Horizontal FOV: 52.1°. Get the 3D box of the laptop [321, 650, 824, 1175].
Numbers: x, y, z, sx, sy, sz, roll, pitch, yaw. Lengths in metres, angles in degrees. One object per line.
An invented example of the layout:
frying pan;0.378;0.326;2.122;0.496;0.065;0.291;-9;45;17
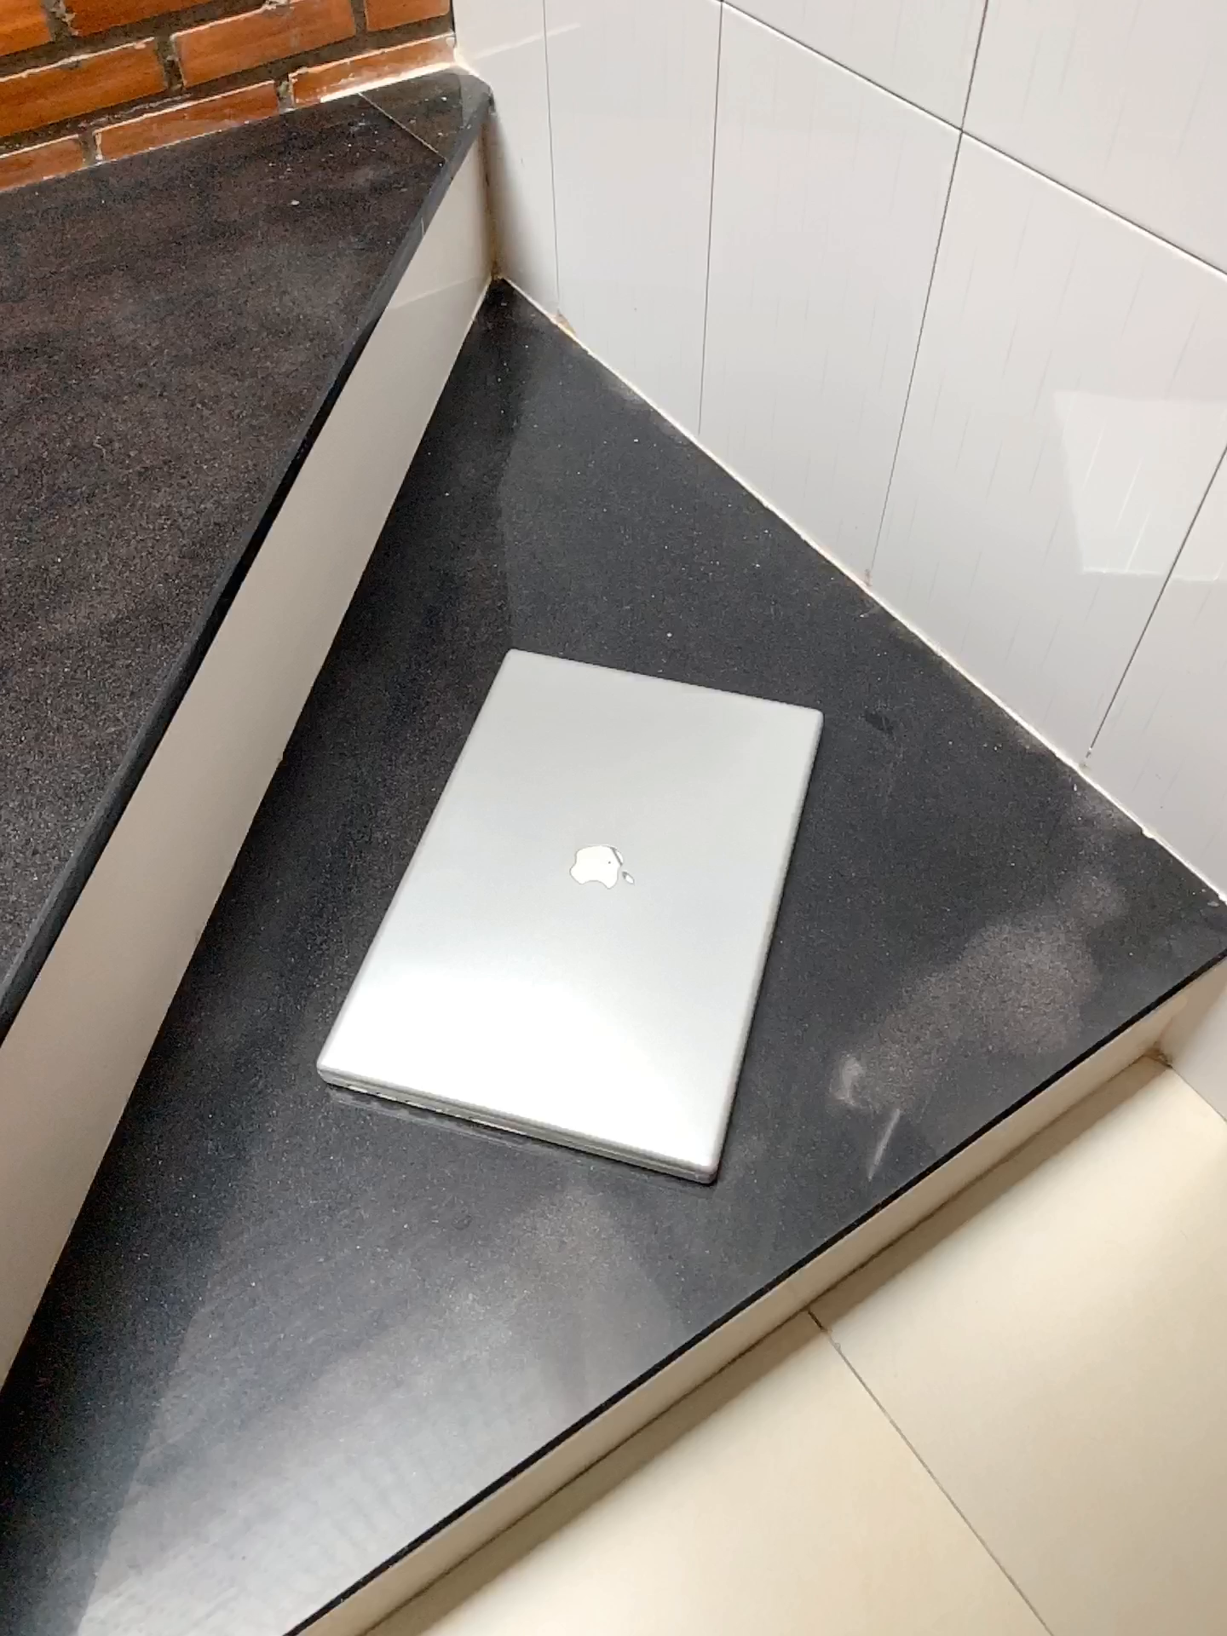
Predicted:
laptop;-0.010;0.048;1.027;0.291;0.013;0.441;14;54;7
